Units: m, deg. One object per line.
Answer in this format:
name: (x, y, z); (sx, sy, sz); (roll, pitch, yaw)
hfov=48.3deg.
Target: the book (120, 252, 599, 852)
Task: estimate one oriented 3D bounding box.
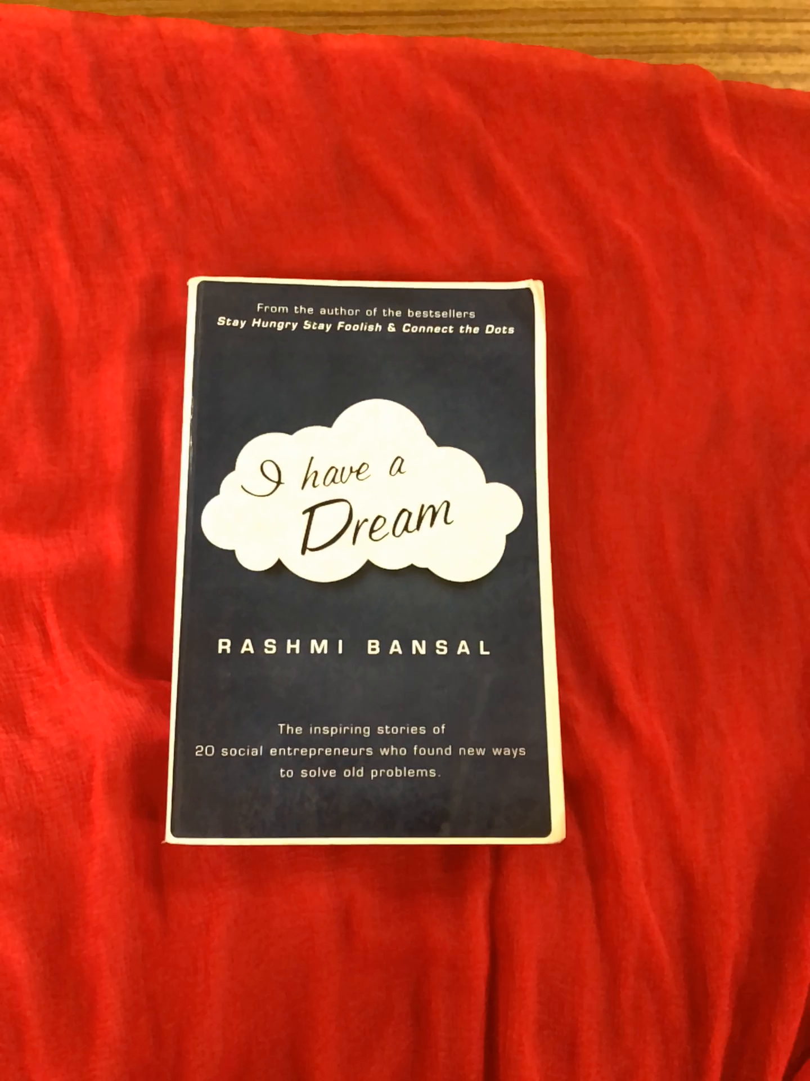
book: (-0.013, 0.001, 0.302); (0.140, 0.040, 0.190); (0, 79, 0)
